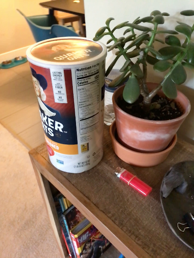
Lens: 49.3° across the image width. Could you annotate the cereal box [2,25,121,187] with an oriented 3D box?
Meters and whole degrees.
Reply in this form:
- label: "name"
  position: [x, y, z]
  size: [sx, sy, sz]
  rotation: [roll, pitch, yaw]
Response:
- label: "cereal box"
  position: [-0.057, -0.044, 0.416]
  size: [0.141, 0.248, 0.140]
  rotation: [-25, 45, -24]
